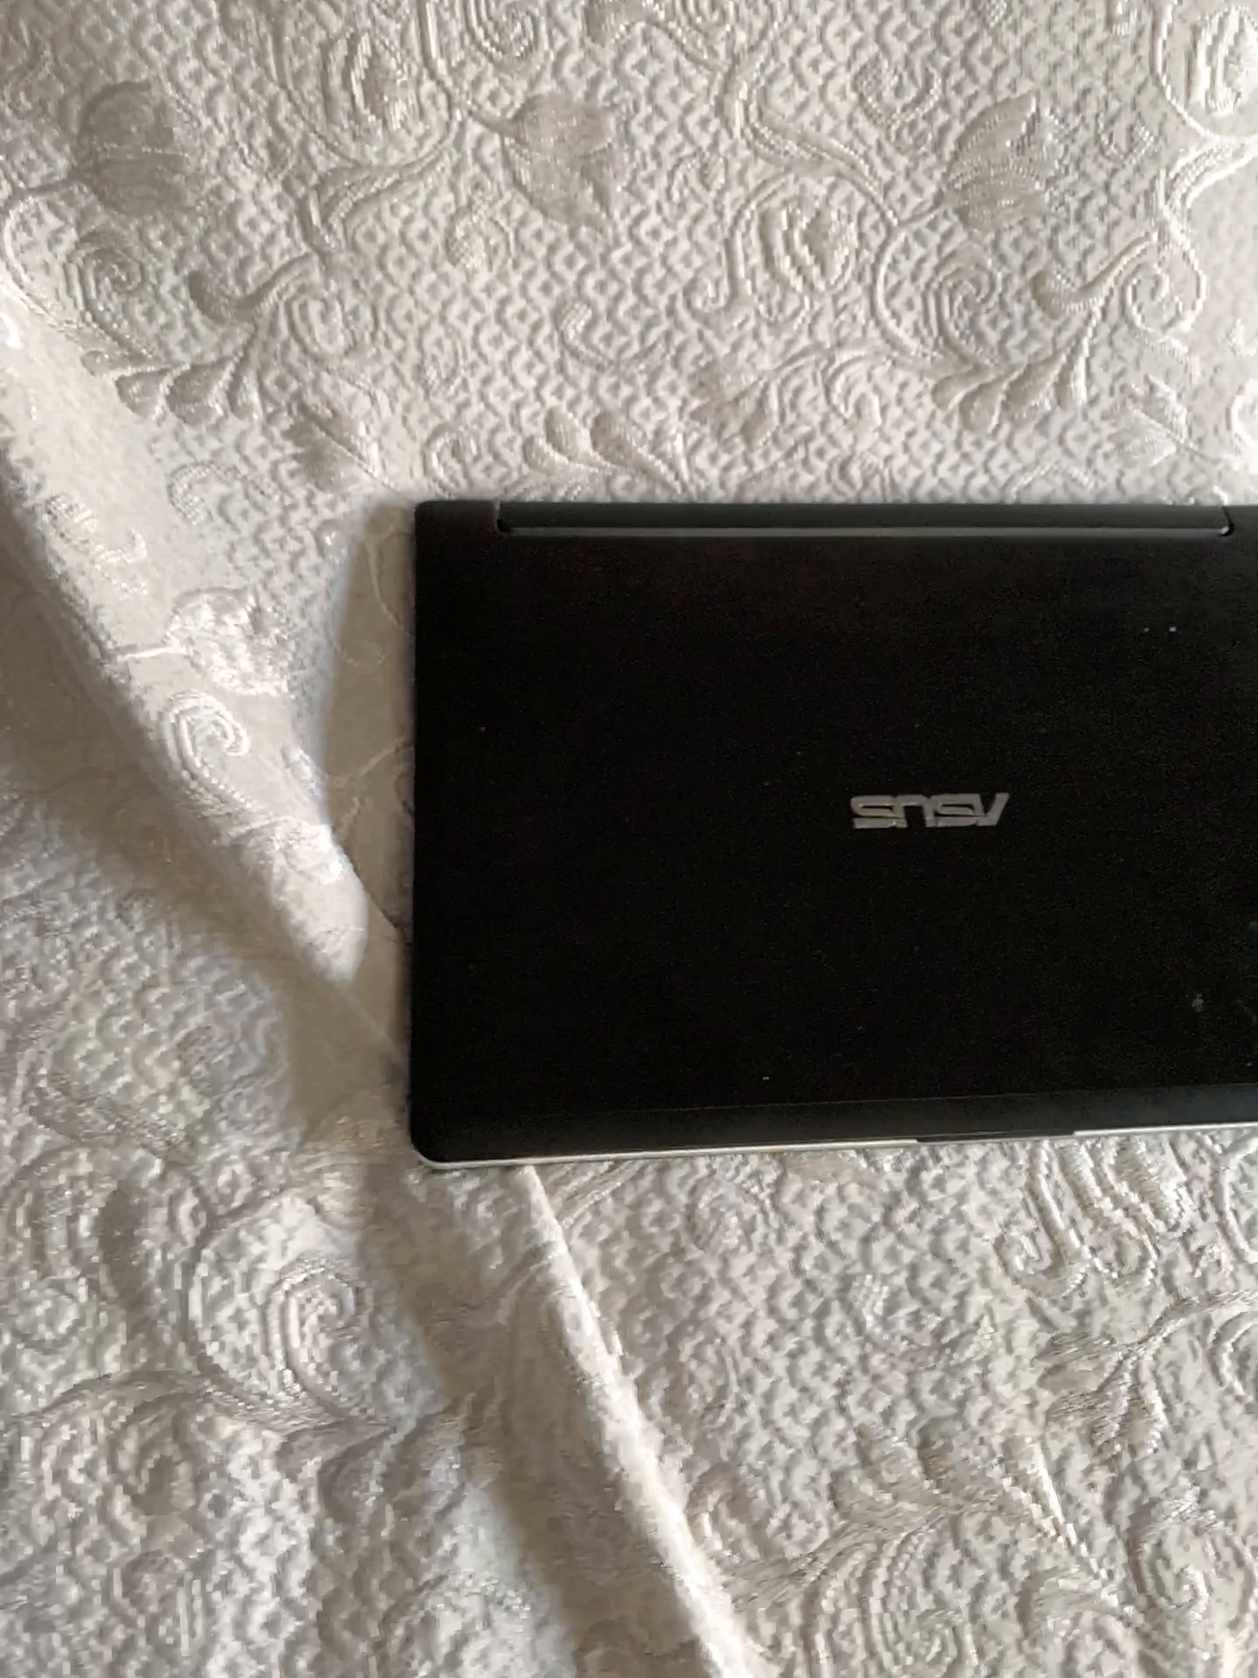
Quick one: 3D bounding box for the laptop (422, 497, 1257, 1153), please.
[{"bbox_3d":[0.100,-0.020,0.433,0.334,0.001,0.232,-1,64,-8],"label":"laptop"}]
